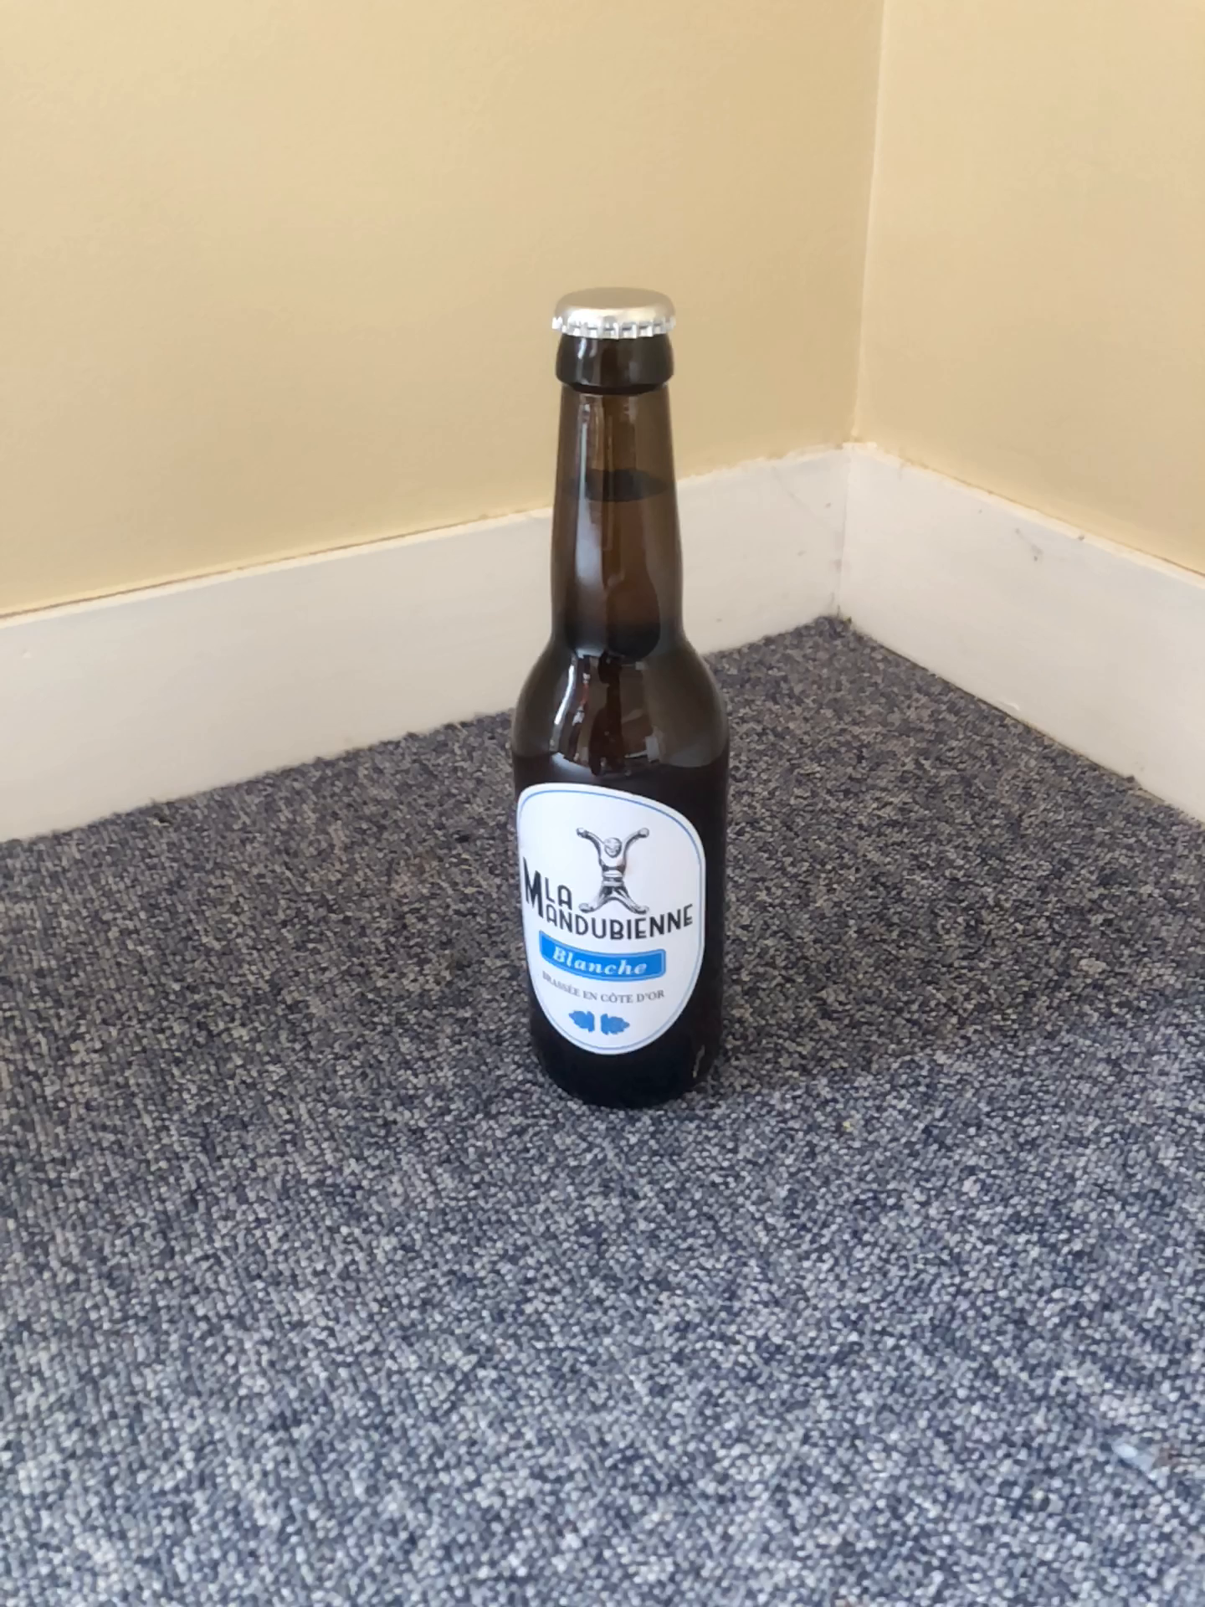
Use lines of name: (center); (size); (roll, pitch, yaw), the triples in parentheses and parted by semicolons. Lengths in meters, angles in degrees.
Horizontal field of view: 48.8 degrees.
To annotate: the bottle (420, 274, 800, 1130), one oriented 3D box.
bottle: (0.007, -0.021, 0.349); (0.070, 0.209, 0.070); (-1, 31, 1)
